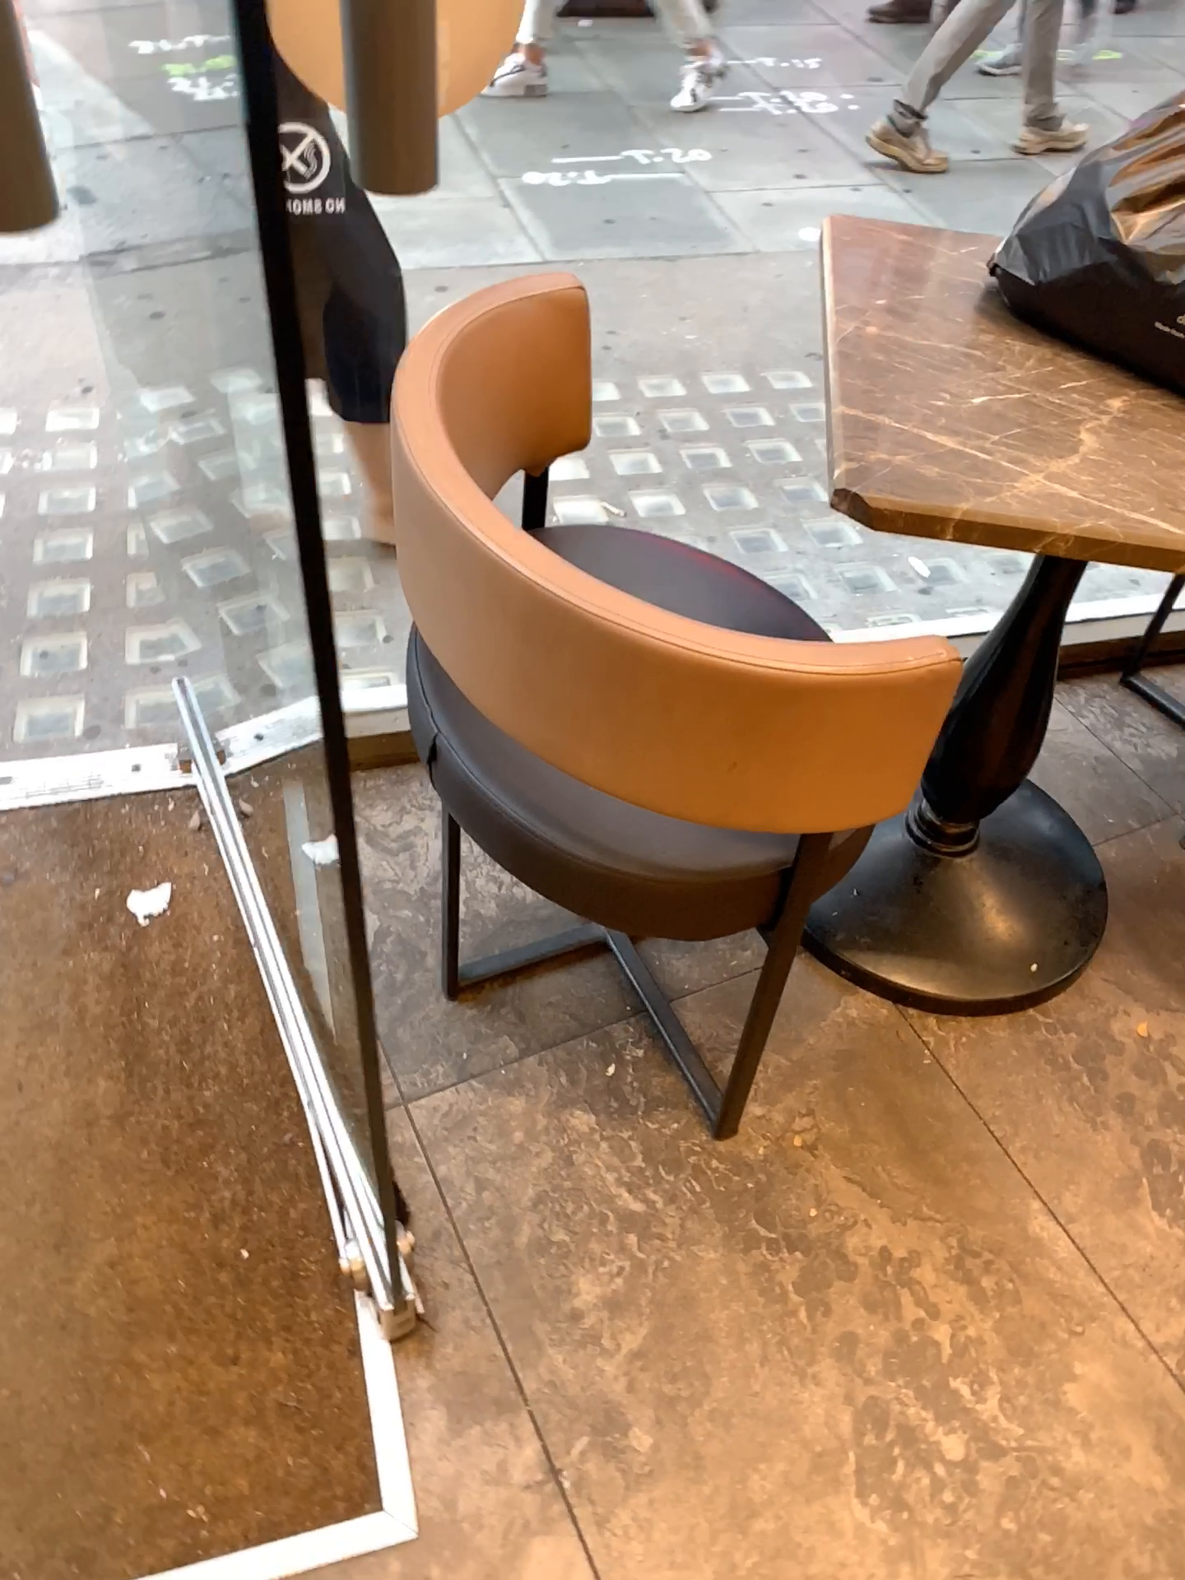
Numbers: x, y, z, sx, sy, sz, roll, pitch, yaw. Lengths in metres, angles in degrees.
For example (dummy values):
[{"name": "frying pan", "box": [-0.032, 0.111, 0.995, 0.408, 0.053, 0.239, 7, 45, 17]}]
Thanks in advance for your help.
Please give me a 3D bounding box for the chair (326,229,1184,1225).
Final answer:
[{"name": "chair", "box": [0.060, -0.101, 1.289, 0.510, 0.654, 0.766, -10, 48, -15]}]
